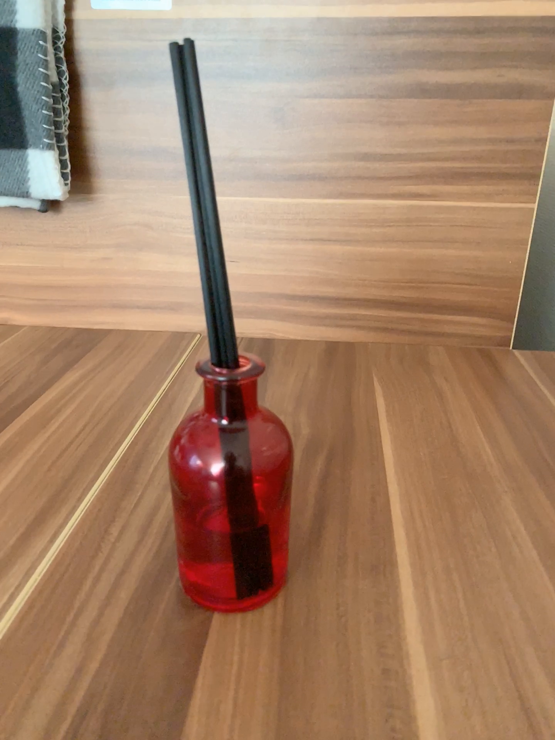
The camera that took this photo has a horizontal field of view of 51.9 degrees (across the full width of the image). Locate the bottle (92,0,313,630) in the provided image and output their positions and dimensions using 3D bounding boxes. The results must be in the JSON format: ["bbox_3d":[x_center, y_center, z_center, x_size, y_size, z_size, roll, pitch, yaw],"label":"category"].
[{"bbox_3d":[-0.023,-0.007,0.234,0.060,0.239,0.050,5,23,10],"label":"bottle"}]
